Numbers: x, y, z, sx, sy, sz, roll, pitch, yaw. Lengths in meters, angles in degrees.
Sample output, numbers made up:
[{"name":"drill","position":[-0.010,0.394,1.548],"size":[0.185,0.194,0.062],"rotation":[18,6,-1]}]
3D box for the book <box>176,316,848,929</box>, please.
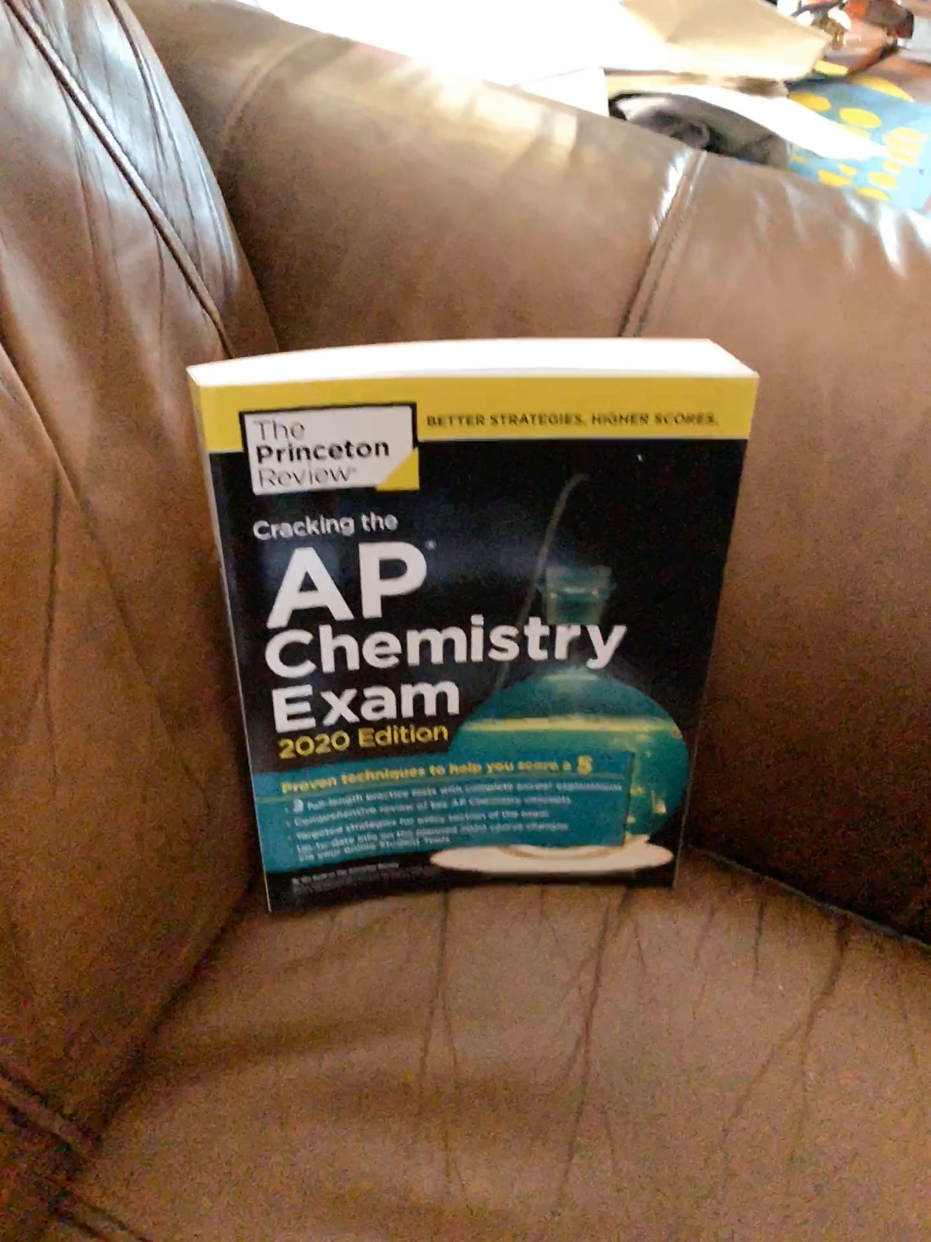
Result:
[{"name":"book","position":[0.011,0.023,0.448],"size":[0.240,0.319,0.040],"rotation":[-2,38,-7]}]
